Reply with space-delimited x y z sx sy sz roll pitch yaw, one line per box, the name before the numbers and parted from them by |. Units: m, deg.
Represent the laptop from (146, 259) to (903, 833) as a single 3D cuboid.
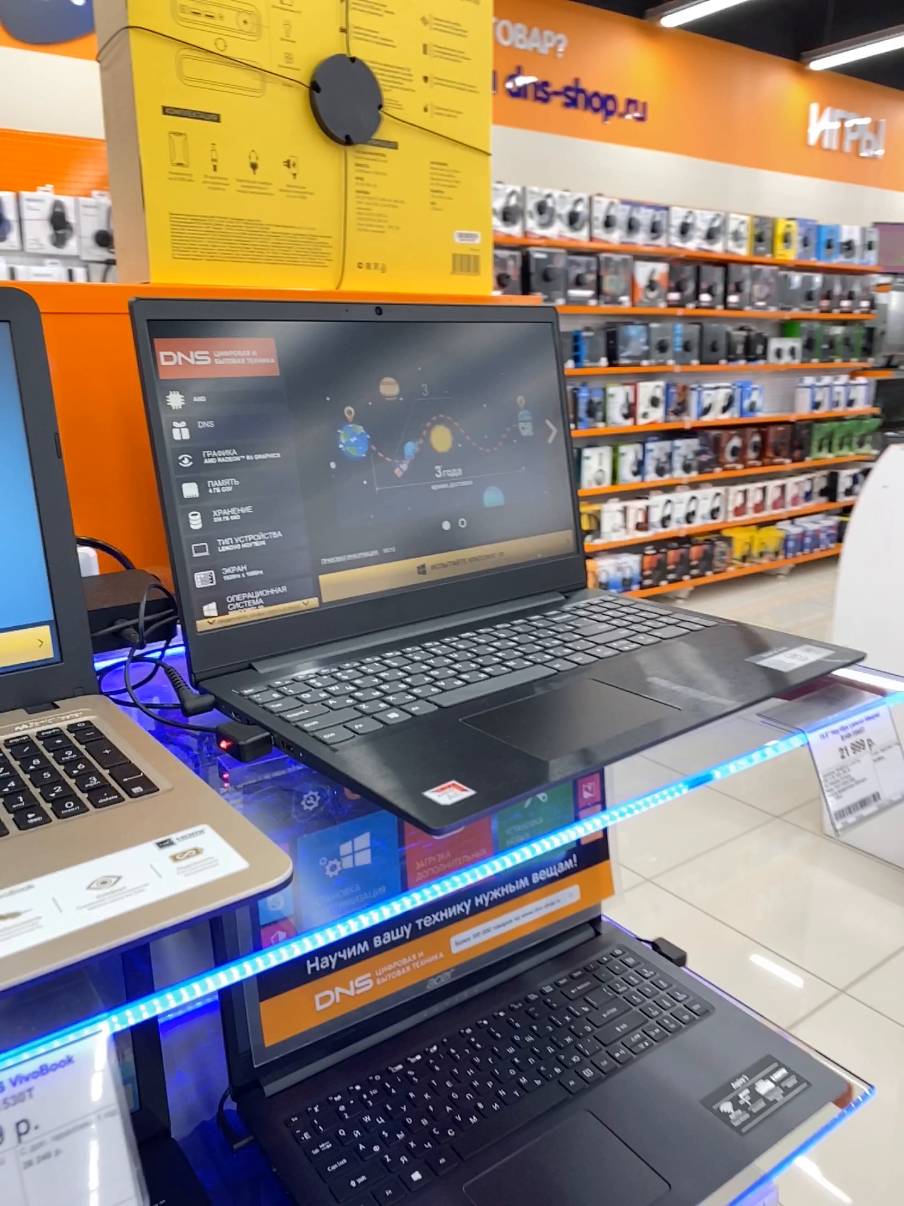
laptop | 0.044 -0.075 0.591 0.359 0.233 0.298 -12 18 -37
